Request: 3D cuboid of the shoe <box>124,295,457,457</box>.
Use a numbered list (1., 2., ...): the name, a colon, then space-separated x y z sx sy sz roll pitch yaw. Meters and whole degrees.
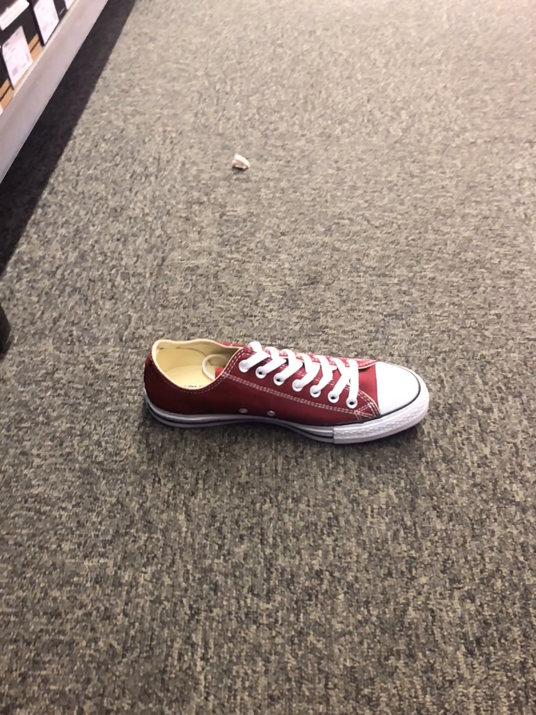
1. shoe: 0.021 0.017 0.559 0.280 0.090 0.101 4 48 1
